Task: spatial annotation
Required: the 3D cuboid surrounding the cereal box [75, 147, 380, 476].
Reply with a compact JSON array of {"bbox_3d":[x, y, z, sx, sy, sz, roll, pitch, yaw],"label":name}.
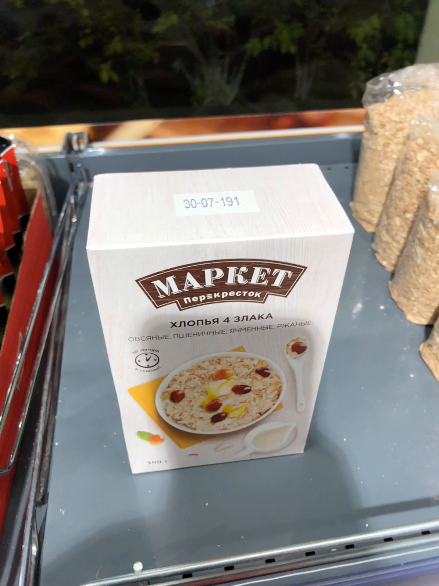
[{"bbox_3d":[0.000,0.021,0.294,0.130,0.189,0.070,-5,41,-6],"label":"cereal box"}]
